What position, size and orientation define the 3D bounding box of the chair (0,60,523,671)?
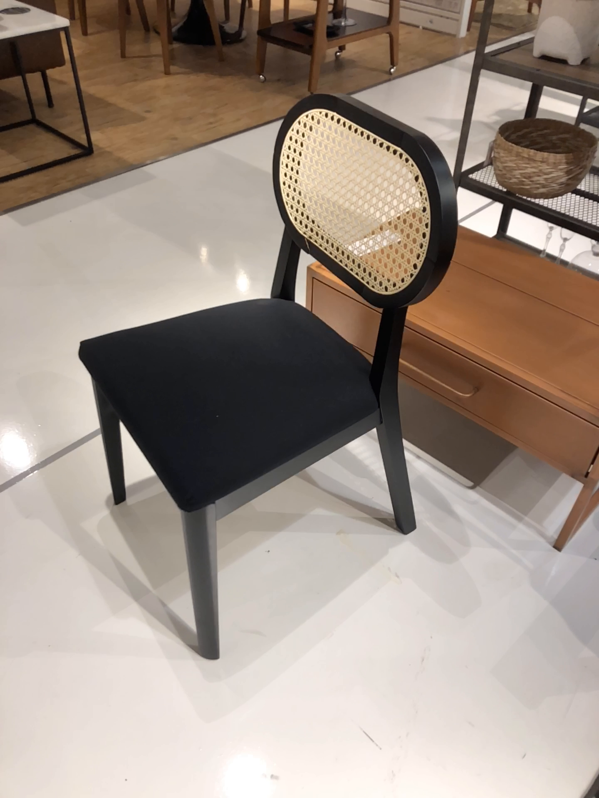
[{"bbox_3d":[-0.079,-0.059,1.164,0.542,0.804,0.502,-25,49,-26],"label":"chair"}]
